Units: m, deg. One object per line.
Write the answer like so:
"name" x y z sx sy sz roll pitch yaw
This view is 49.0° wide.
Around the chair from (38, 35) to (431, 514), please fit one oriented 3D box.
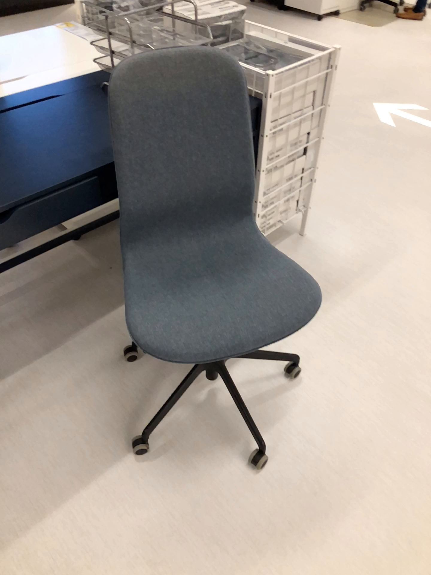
"chair" 0.003 -0.032 1.251 0.640 0.934 0.684 -13 45 -15
